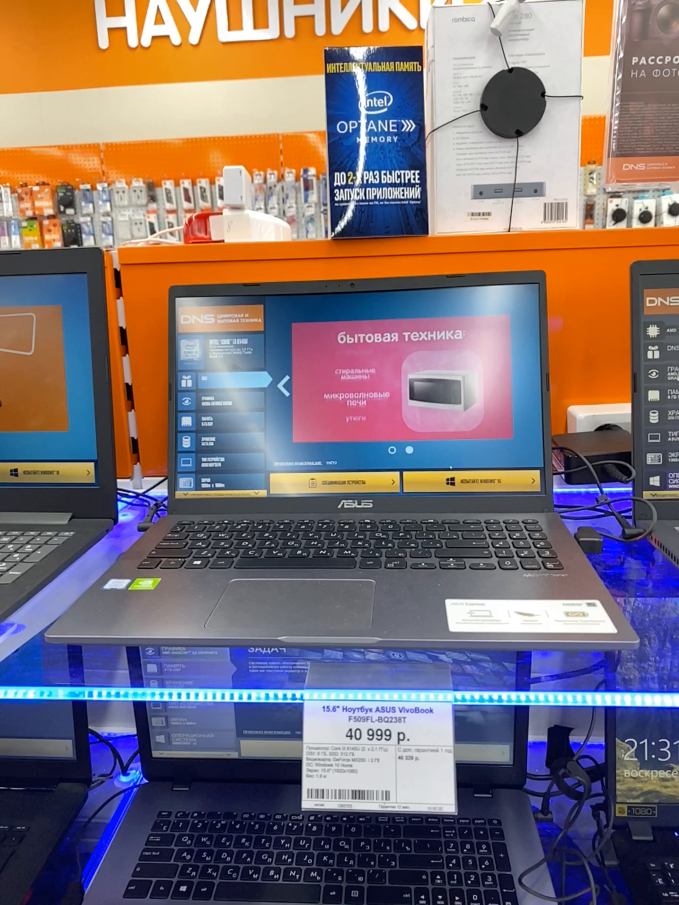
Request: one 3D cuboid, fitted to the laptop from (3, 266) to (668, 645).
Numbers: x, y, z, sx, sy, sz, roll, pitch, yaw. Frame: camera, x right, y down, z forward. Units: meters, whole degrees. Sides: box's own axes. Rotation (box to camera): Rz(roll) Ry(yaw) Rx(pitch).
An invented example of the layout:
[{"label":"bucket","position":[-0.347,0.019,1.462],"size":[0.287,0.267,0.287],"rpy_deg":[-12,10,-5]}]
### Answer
[{"label":"laptop","position":[0.007,-0.028,0.542],"size":[0.357,0.211,0.307],"rpy_deg":[0,13,5]}]
